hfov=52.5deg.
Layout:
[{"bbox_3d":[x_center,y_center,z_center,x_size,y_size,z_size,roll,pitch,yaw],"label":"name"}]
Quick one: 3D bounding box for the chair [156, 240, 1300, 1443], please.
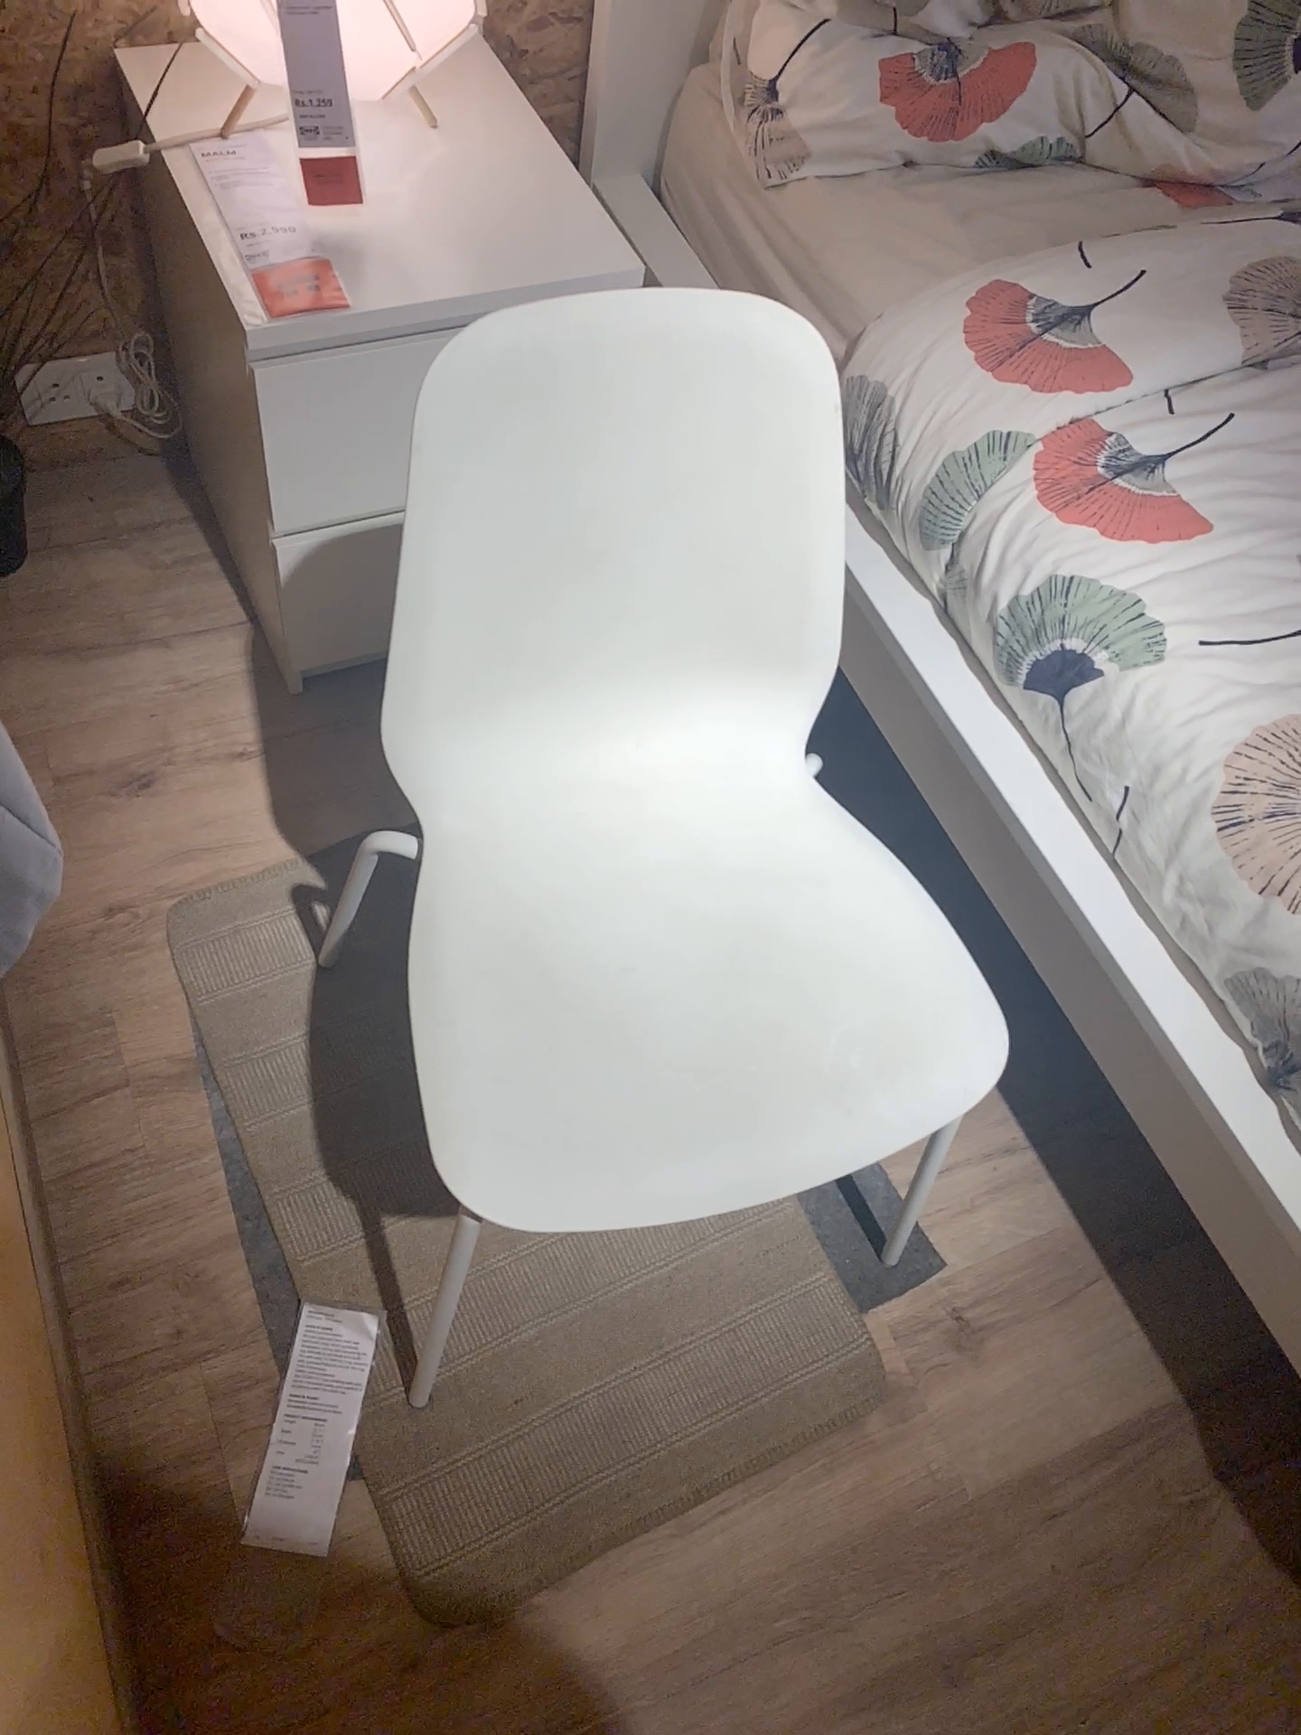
[{"bbox_3d":[-0.015,0.027,1.074,0.540,0.758,0.561,-12,60,-16],"label":"chair"}]
